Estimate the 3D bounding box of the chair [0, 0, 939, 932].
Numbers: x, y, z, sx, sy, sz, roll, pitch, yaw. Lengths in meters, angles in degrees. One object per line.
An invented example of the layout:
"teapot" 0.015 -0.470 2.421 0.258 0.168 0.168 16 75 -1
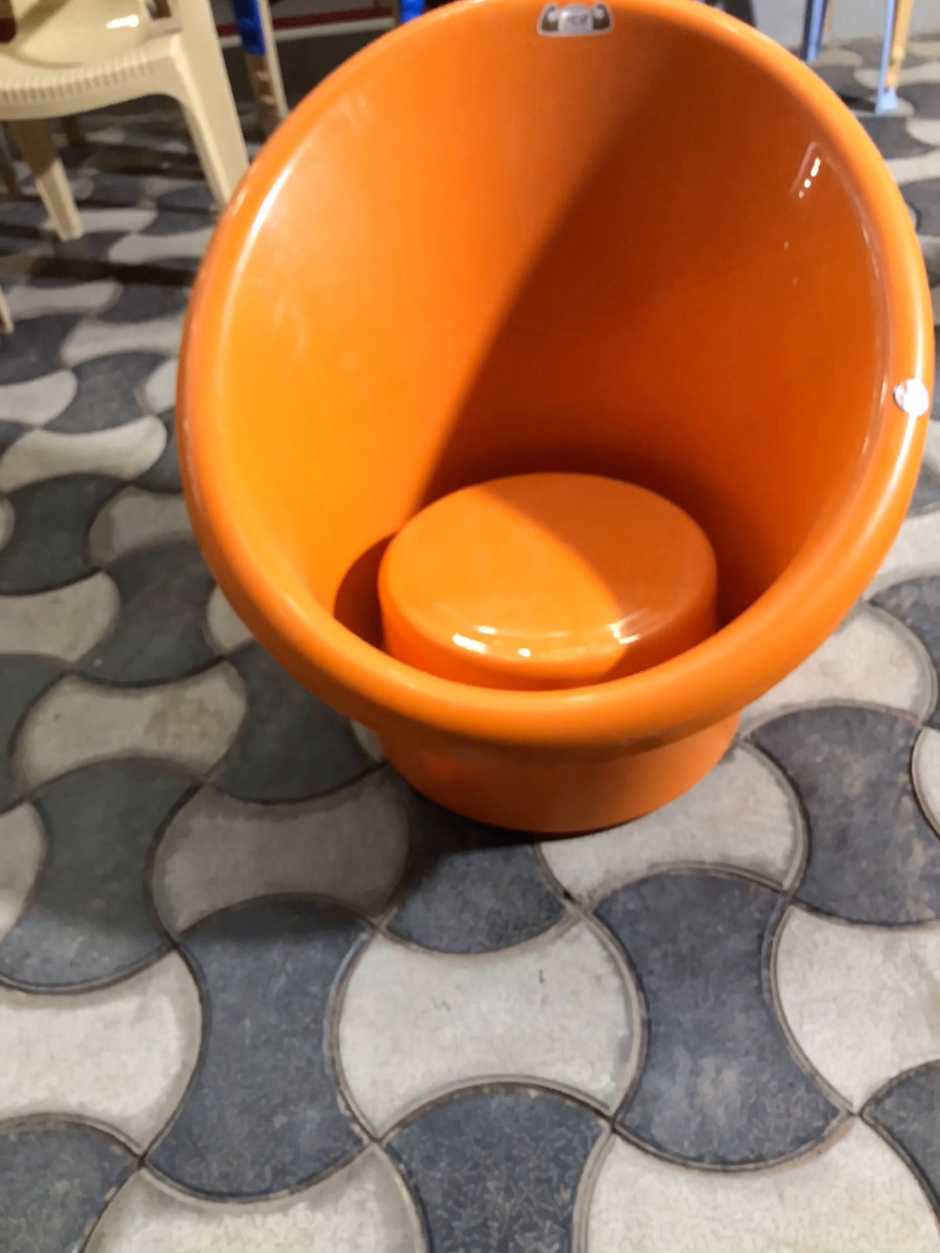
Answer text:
"chair" 0.020 -0.237 0.996 0.660 0.665 0.725 1 40 9
